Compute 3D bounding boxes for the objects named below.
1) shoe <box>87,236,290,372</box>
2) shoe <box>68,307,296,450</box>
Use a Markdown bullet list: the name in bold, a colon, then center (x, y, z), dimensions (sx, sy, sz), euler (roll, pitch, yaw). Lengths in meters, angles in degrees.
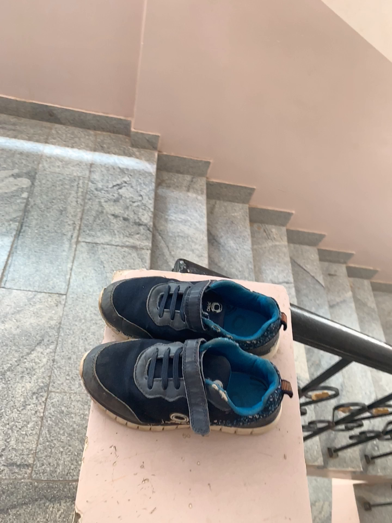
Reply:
- **shoe**: center (-0.007, 0.054, 0.483), dimensions (0.220, 0.079, 0.091), euler (13, 54, -6)
- **shoe**: center (-0.014, 0.131, 0.441), dimensions (0.220, 0.079, 0.101), euler (11, 55, -7)
